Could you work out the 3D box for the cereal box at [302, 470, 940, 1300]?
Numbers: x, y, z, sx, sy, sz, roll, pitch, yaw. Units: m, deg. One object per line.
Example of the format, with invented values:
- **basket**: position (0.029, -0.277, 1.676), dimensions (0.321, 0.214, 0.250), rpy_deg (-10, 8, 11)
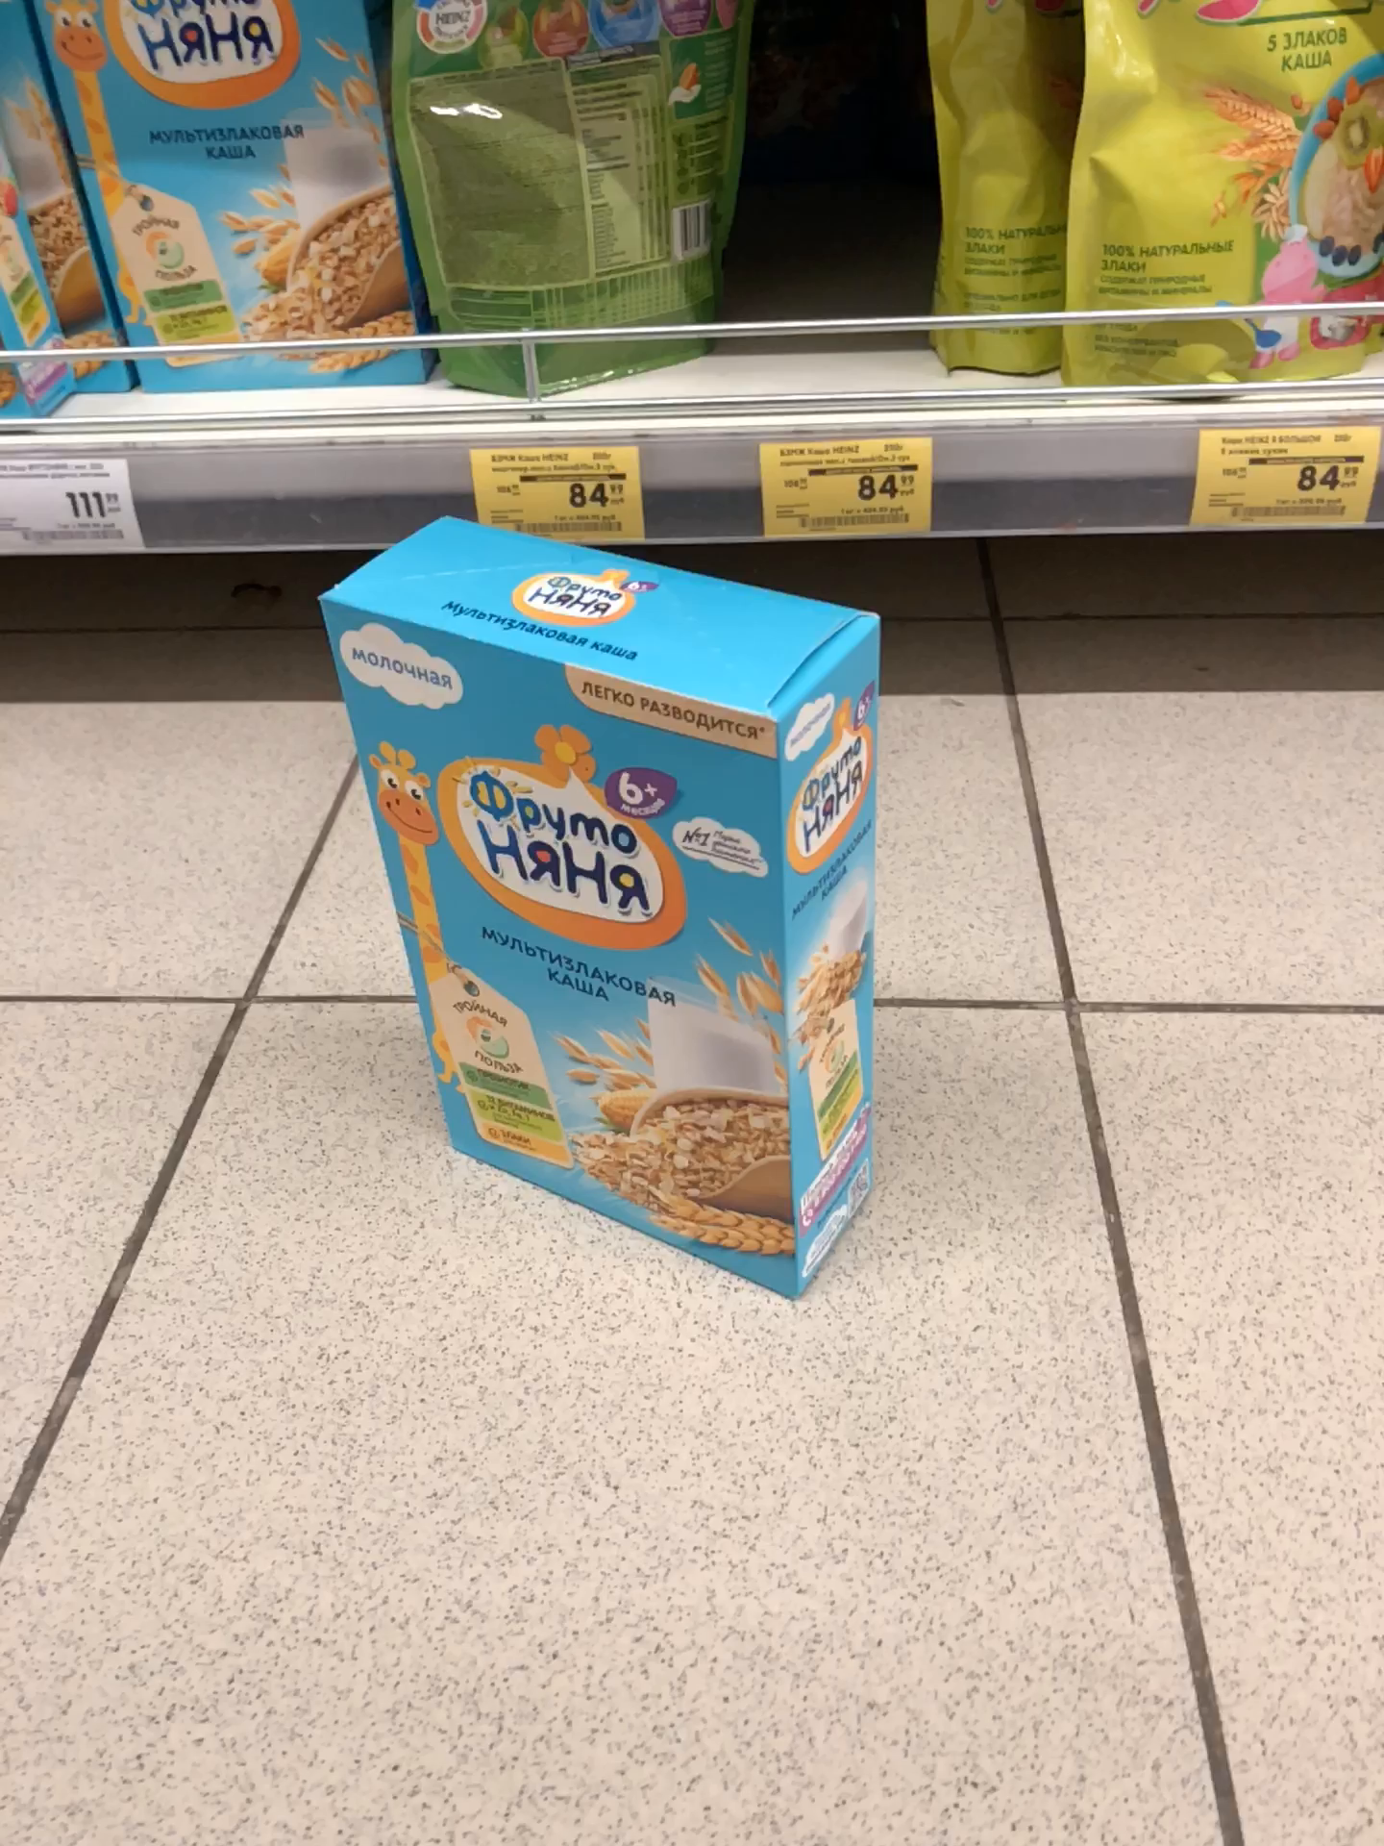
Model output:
- **cereal box**: position (-0.012, -0.007, 0.420), dimensions (0.140, 0.199, 0.060), rpy_deg (18, 45, 26)
